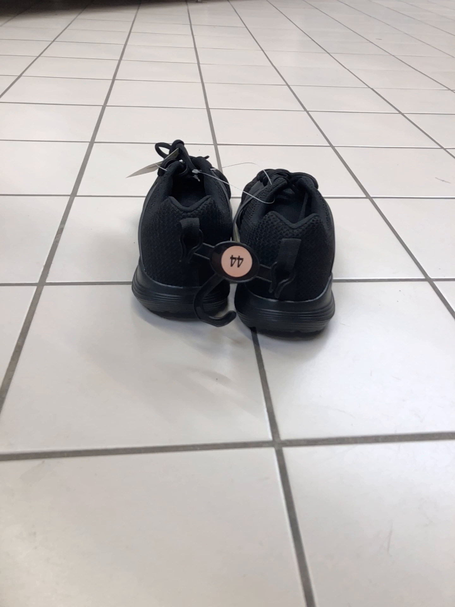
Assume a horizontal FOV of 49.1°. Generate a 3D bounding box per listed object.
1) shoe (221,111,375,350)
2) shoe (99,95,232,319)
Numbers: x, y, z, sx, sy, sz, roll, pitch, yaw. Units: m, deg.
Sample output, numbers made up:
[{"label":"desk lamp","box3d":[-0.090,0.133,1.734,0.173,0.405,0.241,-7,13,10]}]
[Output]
[{"label":"shoe","box3d":[0.050,-0.098,0.521,0.100,0.109,0.312,1,37,-3]},{"label":"shoe","box3d":[-0.055,-0.124,0.535,0.100,0.109,0.312,1,37,-3]}]
